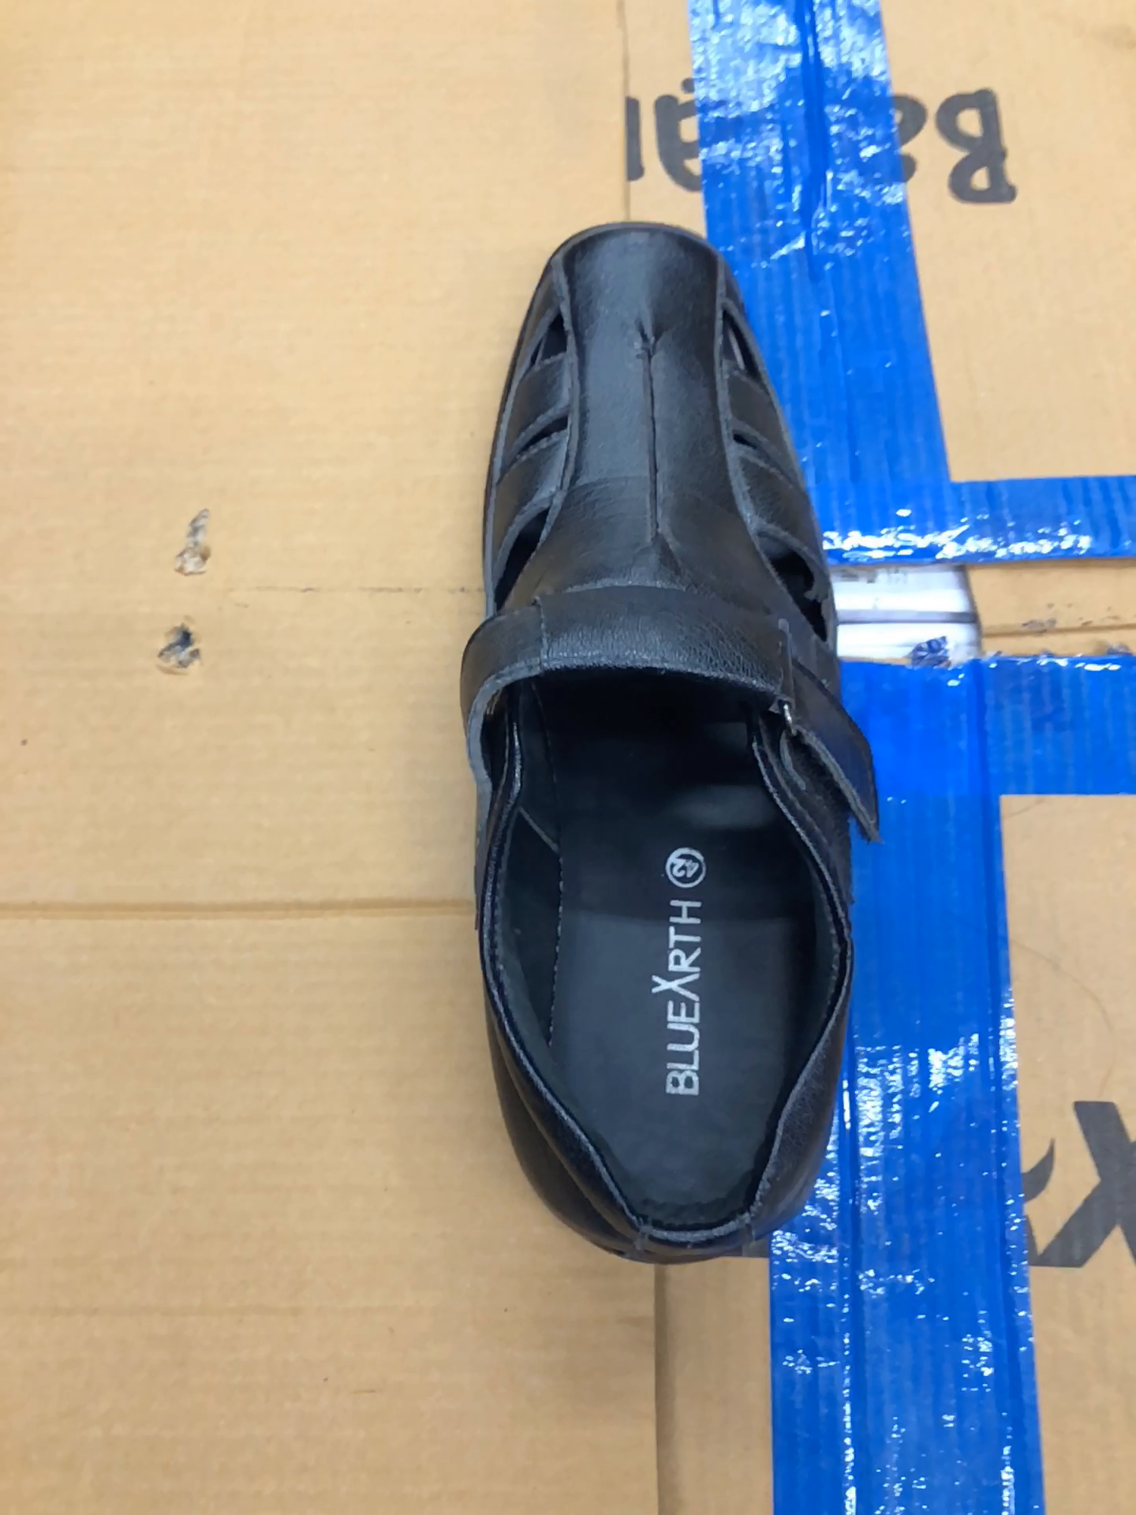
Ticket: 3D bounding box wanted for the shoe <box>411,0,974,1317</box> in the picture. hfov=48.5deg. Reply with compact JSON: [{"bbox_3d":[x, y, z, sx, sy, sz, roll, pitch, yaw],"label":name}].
[{"bbox_3d":[0.019,-0.032,0.316,0.100,0.100,0.301,-2,73,1],"label":"shoe"}]
